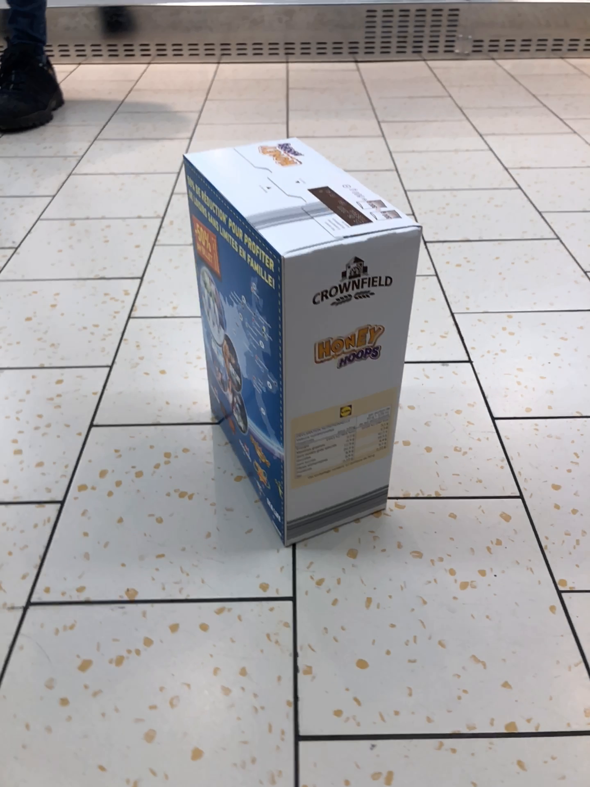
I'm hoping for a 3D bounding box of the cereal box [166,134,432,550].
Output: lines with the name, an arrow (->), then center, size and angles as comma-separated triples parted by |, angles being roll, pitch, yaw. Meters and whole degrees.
cereal box -> -0.008, -0.048, 0.531 | 0.110, 0.248, 0.211 | -16, 40, -18
